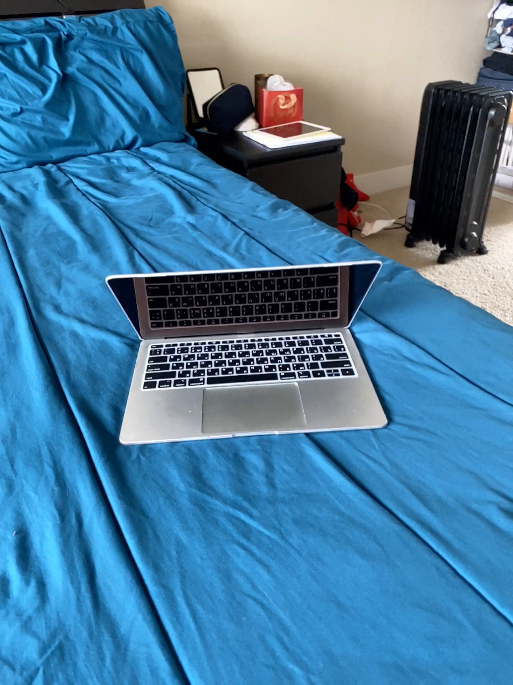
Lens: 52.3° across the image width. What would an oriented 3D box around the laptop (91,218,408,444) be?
[{"bbox_3d":[-0.010,-0.025,0.619,0.295,0.161,0.216,-4,33,-2],"label":"laptop"}]
